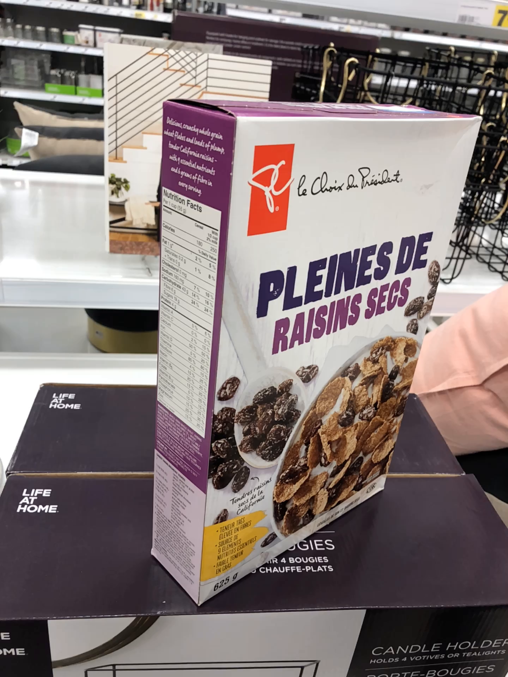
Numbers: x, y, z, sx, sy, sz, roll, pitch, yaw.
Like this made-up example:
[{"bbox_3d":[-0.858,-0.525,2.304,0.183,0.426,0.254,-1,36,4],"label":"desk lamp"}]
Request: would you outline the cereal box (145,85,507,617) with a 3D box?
[{"bbox_3d":[0.036,0.008,0.362,0.200,0.299,0.060,-17,37,-37],"label":"cereal box"}]
